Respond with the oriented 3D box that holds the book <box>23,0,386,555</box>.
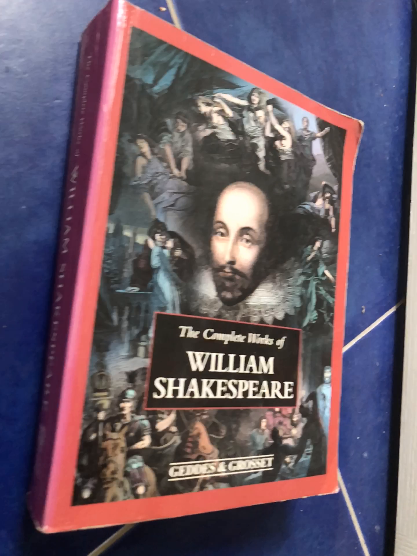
[{"bbox_3d":[0.018,0.000,0.294,0.211,0.060,0.270,11,81,-34],"label":"book"}]
